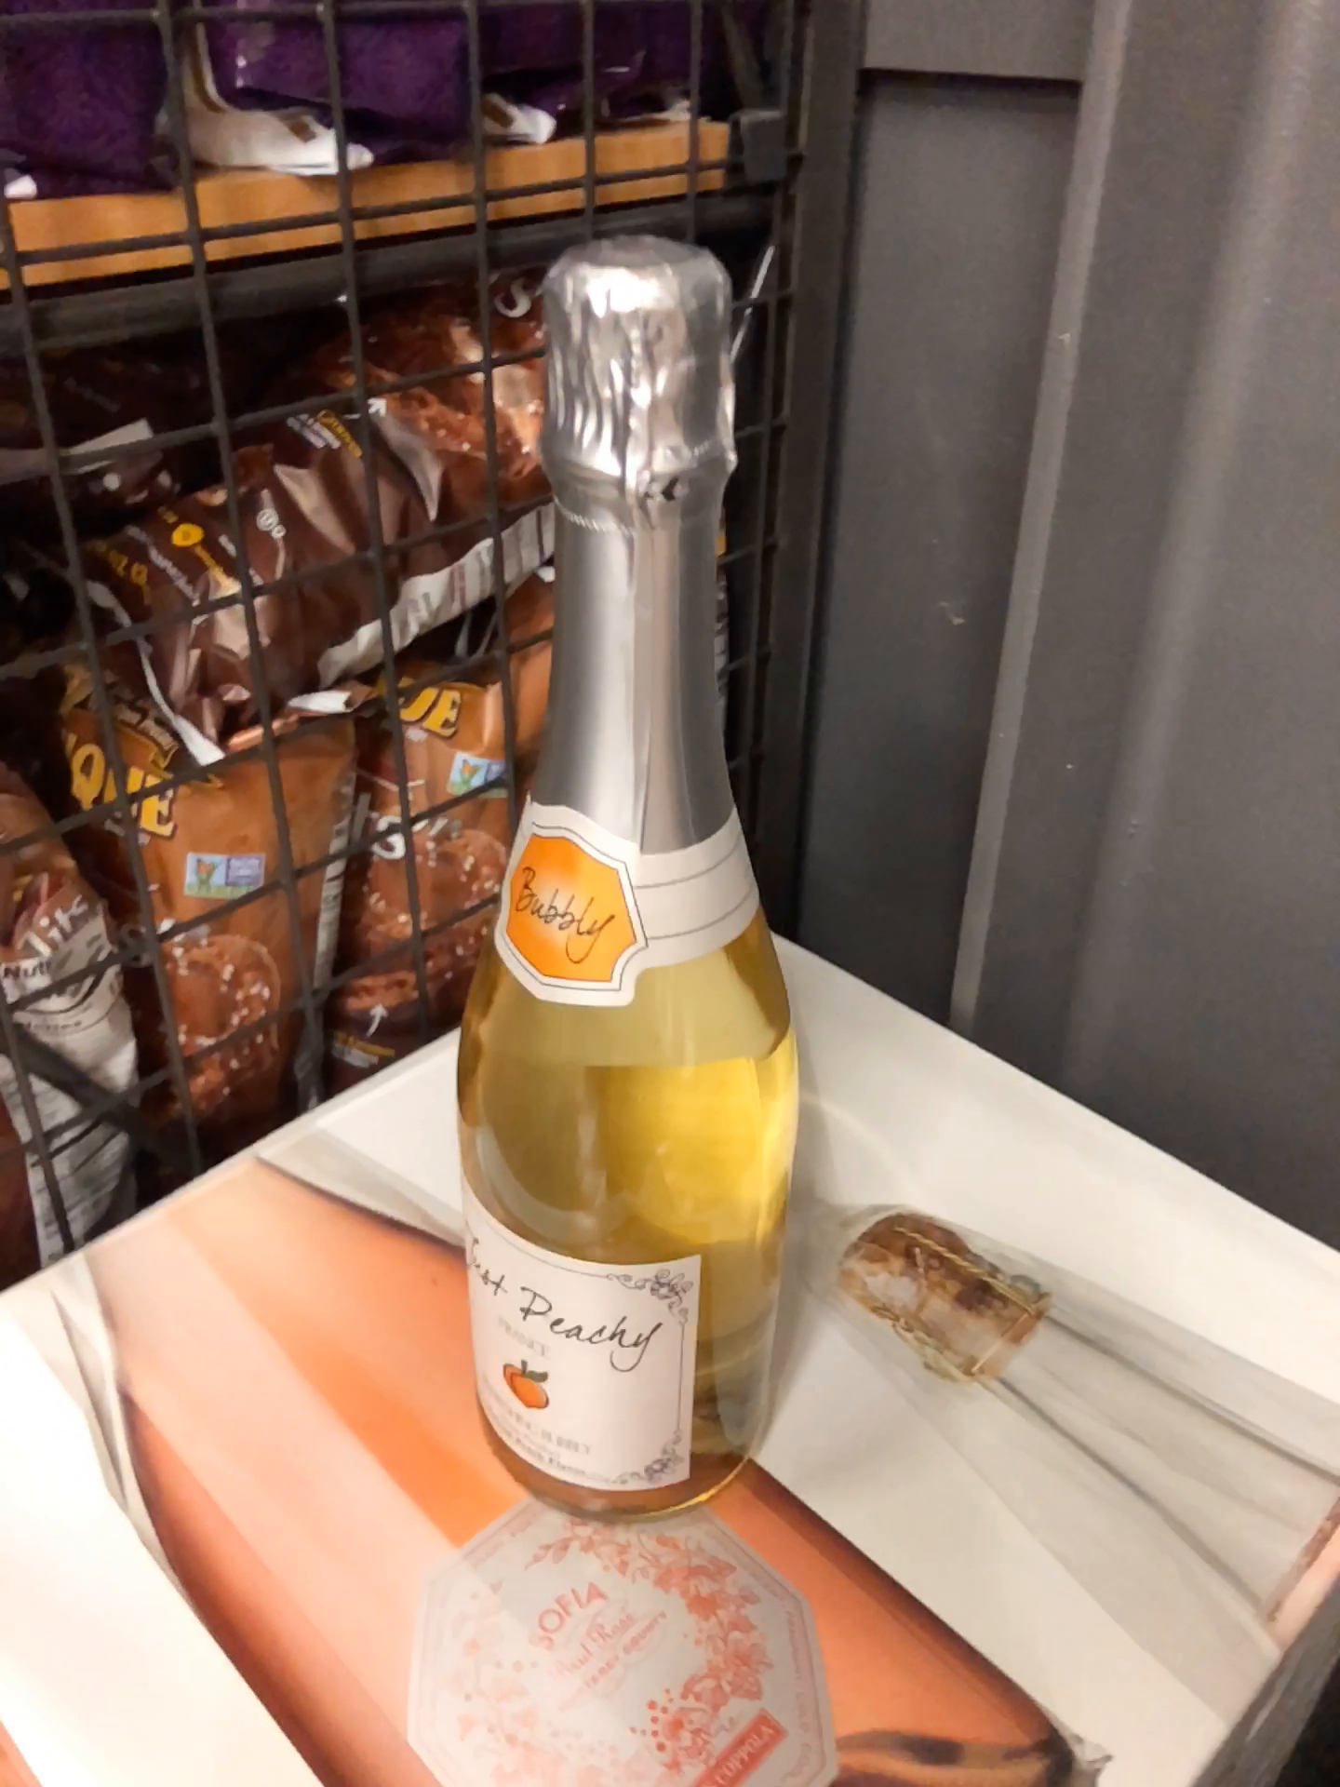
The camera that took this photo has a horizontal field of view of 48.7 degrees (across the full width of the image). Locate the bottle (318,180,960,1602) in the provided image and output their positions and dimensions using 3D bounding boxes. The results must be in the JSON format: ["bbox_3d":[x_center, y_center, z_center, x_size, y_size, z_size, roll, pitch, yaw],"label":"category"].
[{"bbox_3d":[-0.005,0.016,0.347,0.078,0.319,0.087,21,37,29],"label":"bottle"}]
